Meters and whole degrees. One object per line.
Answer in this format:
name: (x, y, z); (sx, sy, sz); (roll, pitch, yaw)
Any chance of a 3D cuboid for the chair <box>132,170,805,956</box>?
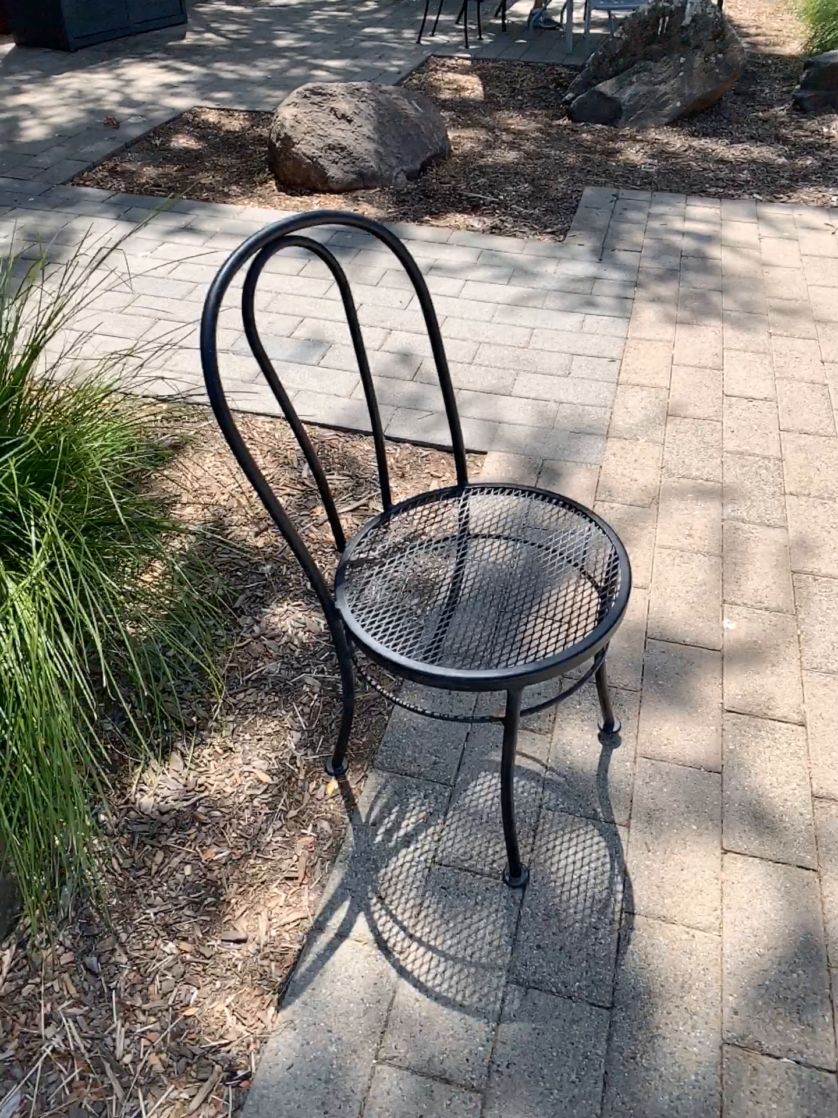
chair: (0.064, 0.001, 1.152); (0.543, 0.788, 0.468); (22, 44, 23)
